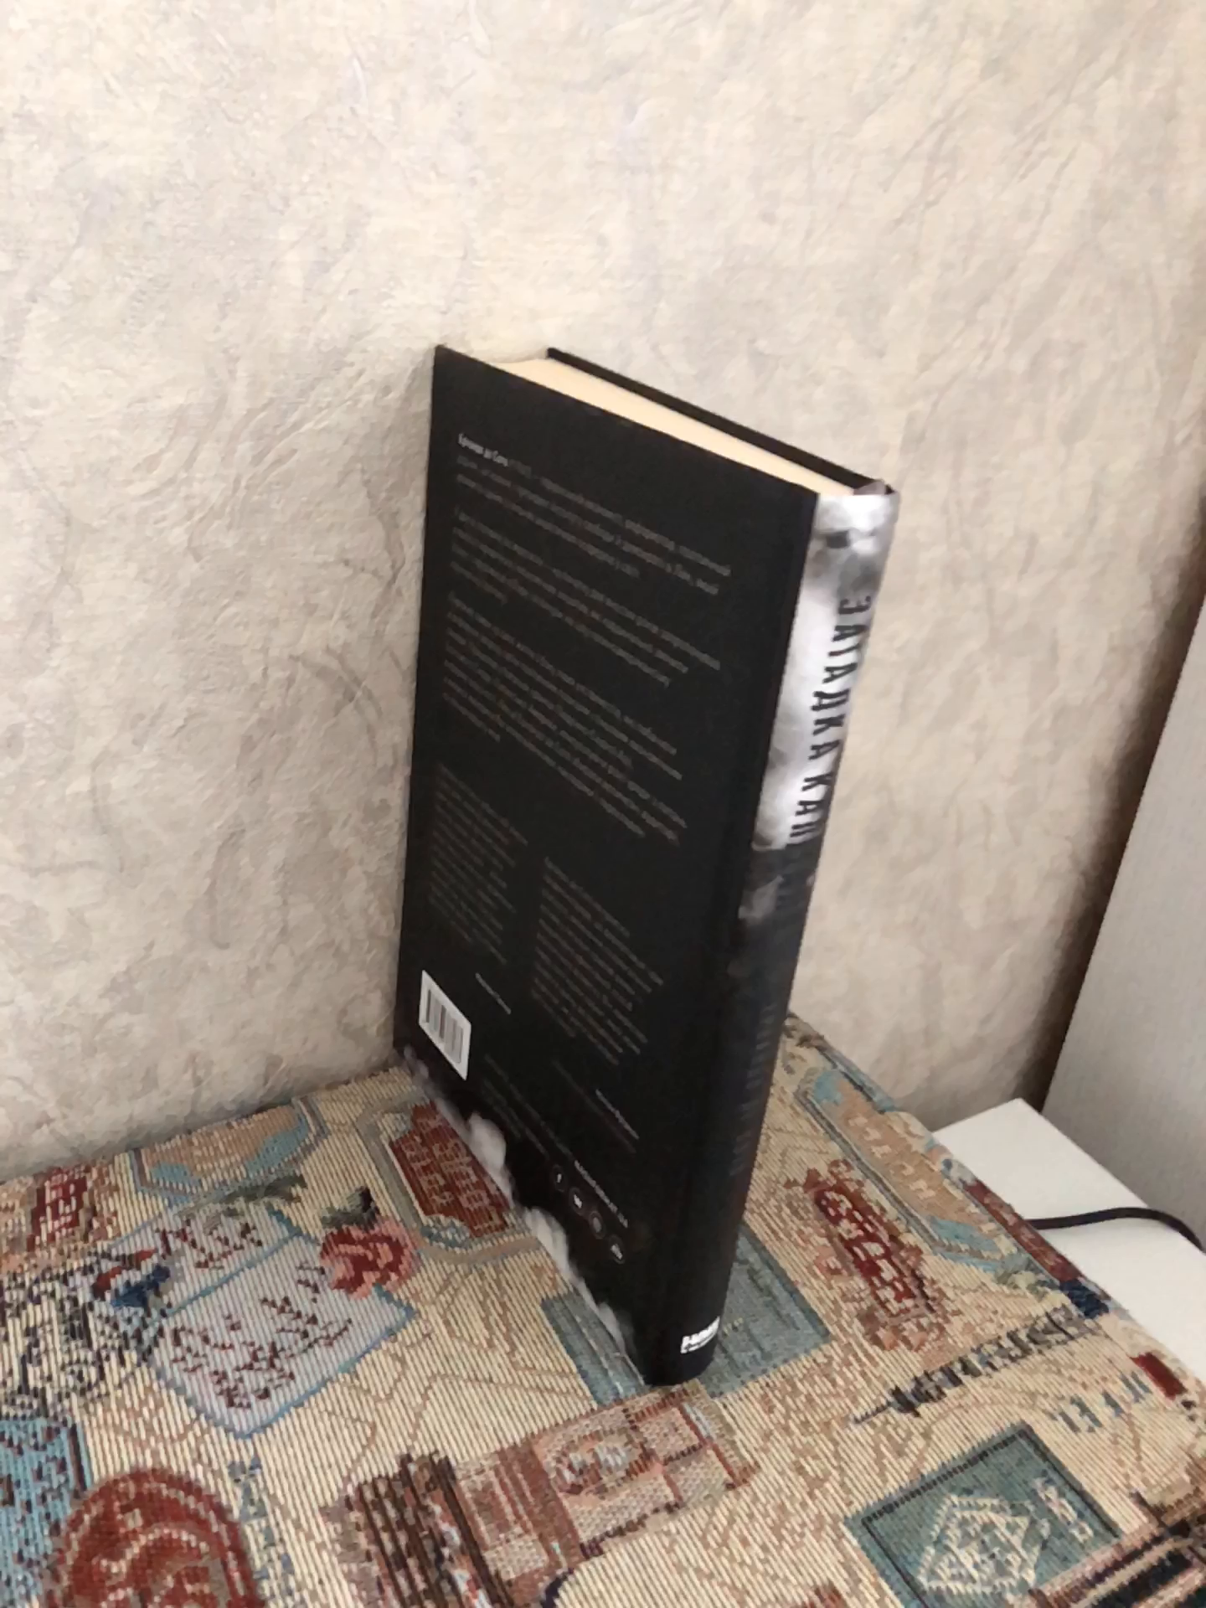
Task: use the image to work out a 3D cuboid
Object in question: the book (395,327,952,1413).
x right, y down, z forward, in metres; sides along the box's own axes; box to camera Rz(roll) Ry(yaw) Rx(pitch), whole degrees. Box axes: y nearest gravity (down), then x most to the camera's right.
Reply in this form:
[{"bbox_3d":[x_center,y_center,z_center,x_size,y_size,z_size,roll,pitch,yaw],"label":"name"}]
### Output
[{"bbox_3d":[-0.003,0.010,0.303,0.035,0.200,0.138,-8,31,-28],"label":"book"}]
